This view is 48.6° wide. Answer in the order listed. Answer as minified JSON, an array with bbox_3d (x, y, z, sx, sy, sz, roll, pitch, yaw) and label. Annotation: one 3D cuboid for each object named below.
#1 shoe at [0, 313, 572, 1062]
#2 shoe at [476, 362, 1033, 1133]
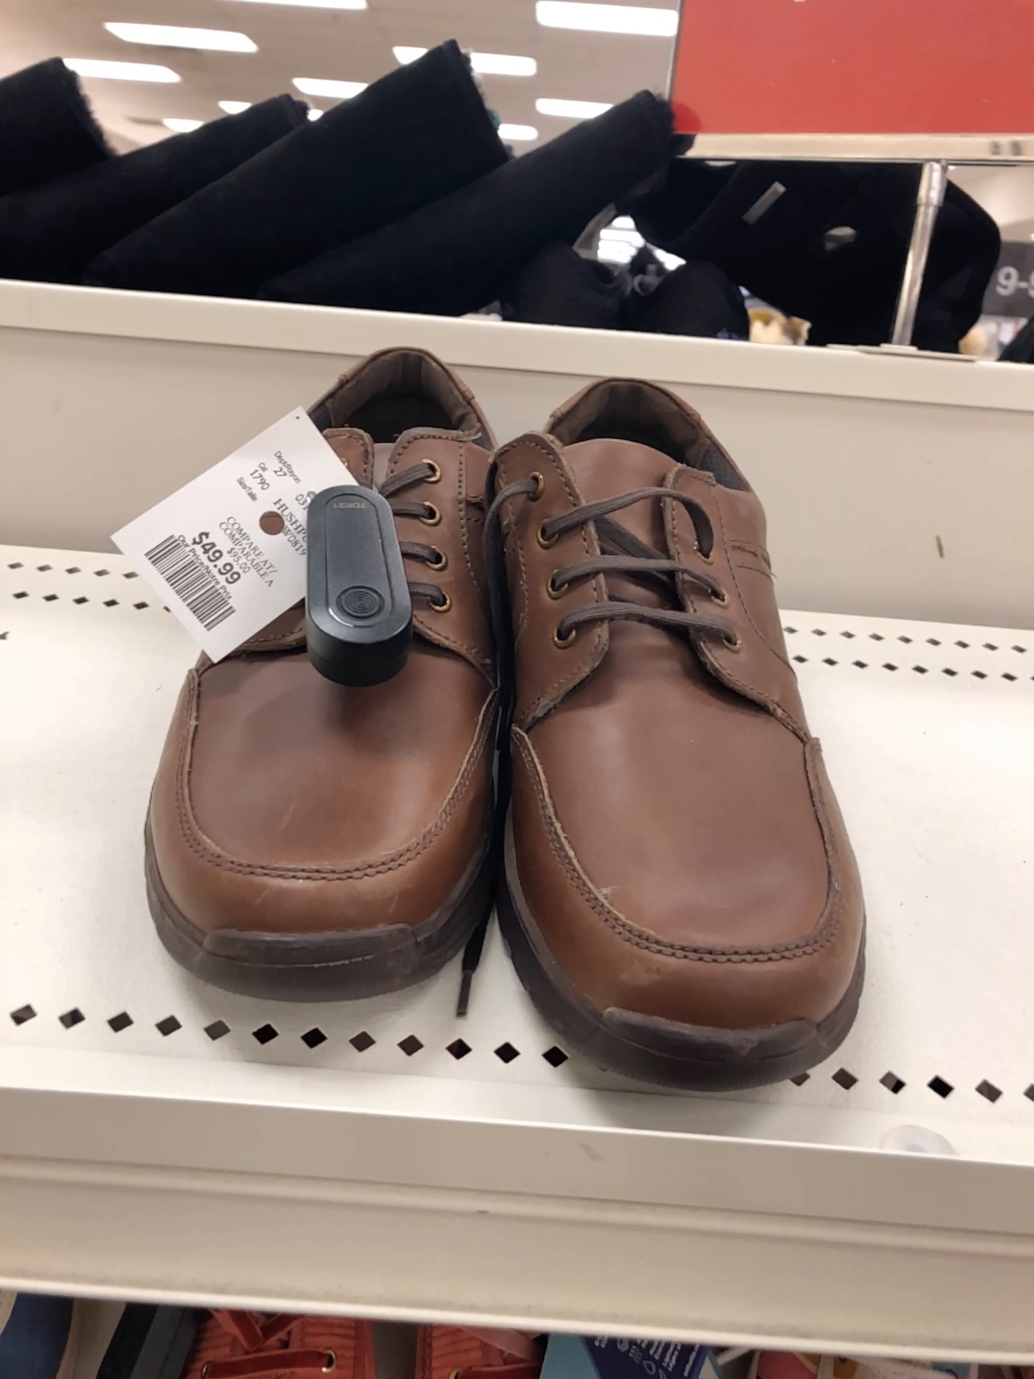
[{"bbox_3d":[-0.052,-0.042,0.379,0.120,0.109,0.333,4,25,-1],"label":"shoe"},{"bbox_3d":[0.050,-0.026,0.375,0.120,0.109,0.342,3,22,-4],"label":"shoe"}]
